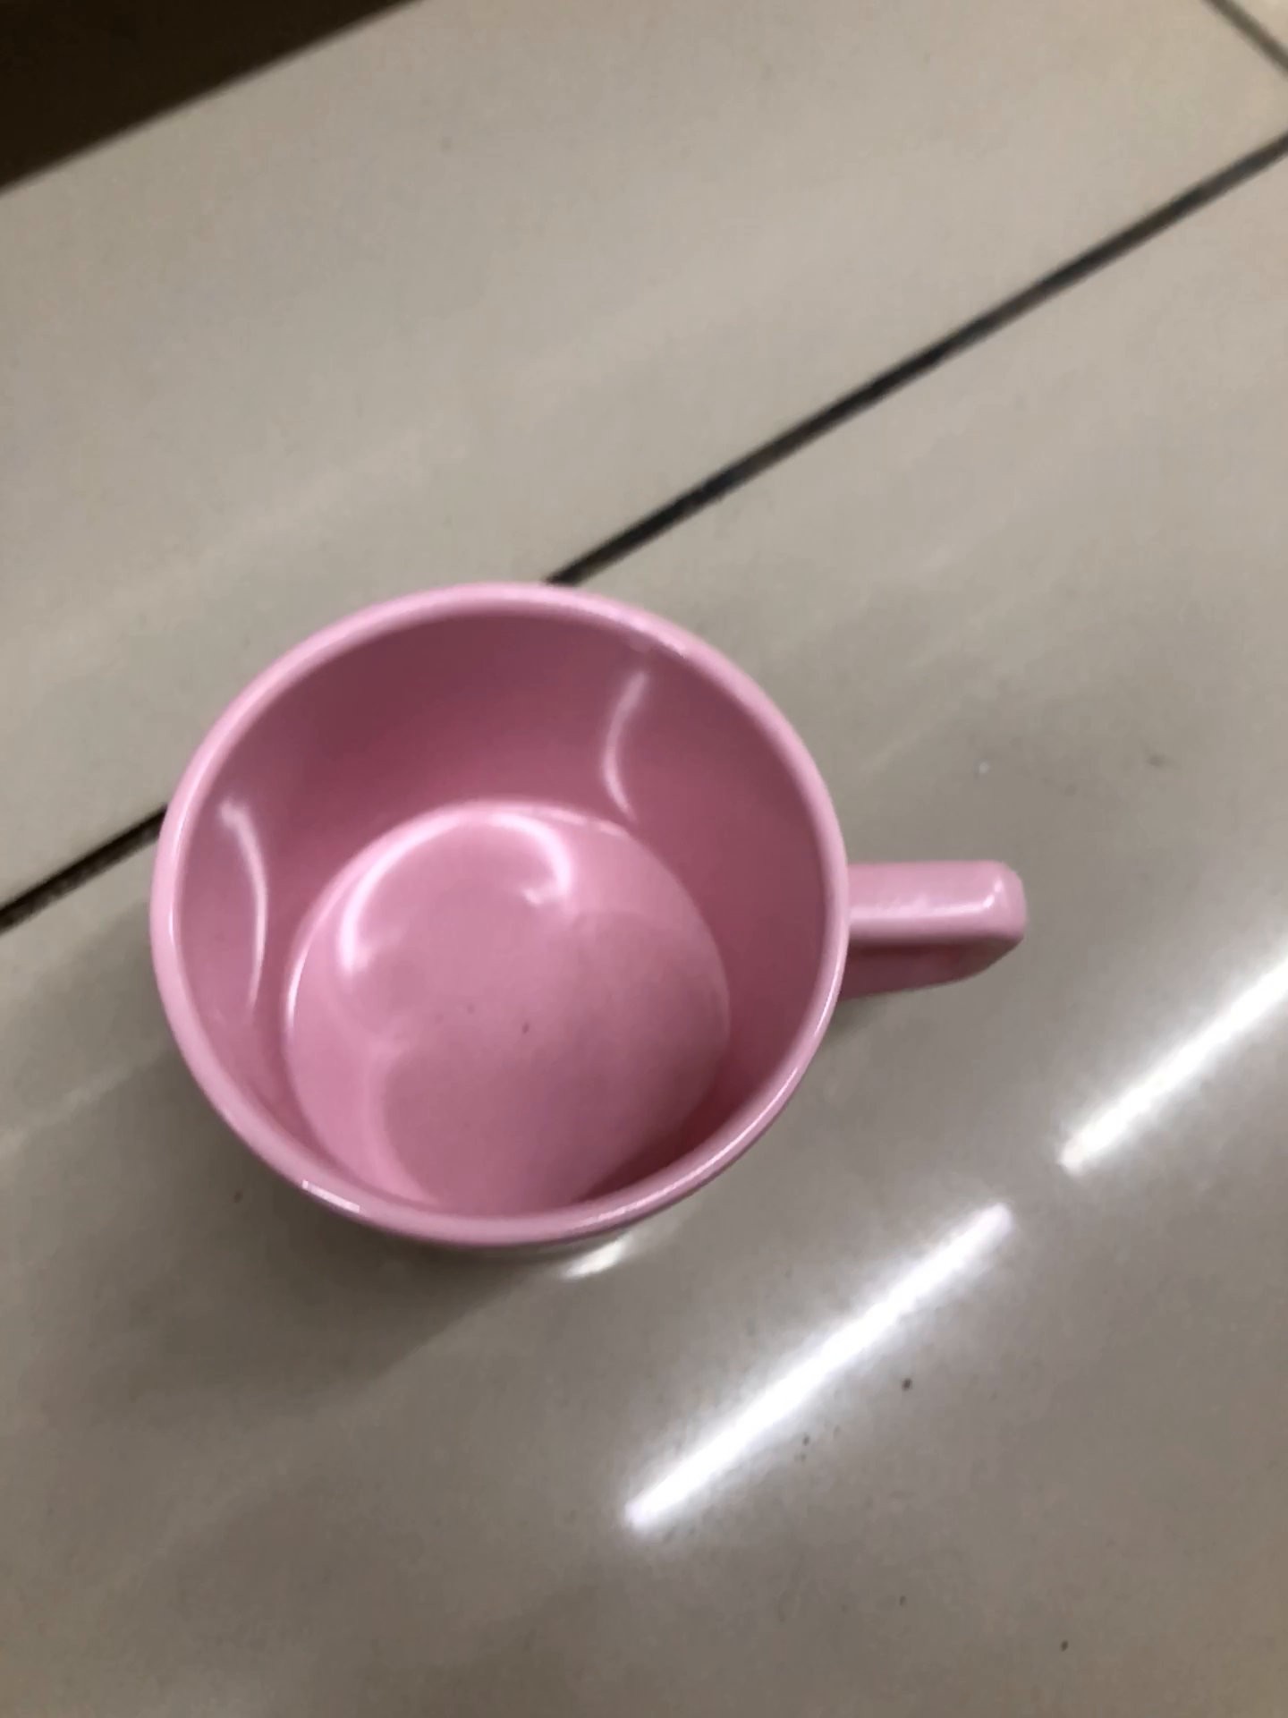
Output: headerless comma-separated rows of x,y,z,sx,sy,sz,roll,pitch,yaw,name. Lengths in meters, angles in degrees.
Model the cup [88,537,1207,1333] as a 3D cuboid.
-0.004,0.015,0.193,0.110,0.080,0.080,-3,70,-6,cup
